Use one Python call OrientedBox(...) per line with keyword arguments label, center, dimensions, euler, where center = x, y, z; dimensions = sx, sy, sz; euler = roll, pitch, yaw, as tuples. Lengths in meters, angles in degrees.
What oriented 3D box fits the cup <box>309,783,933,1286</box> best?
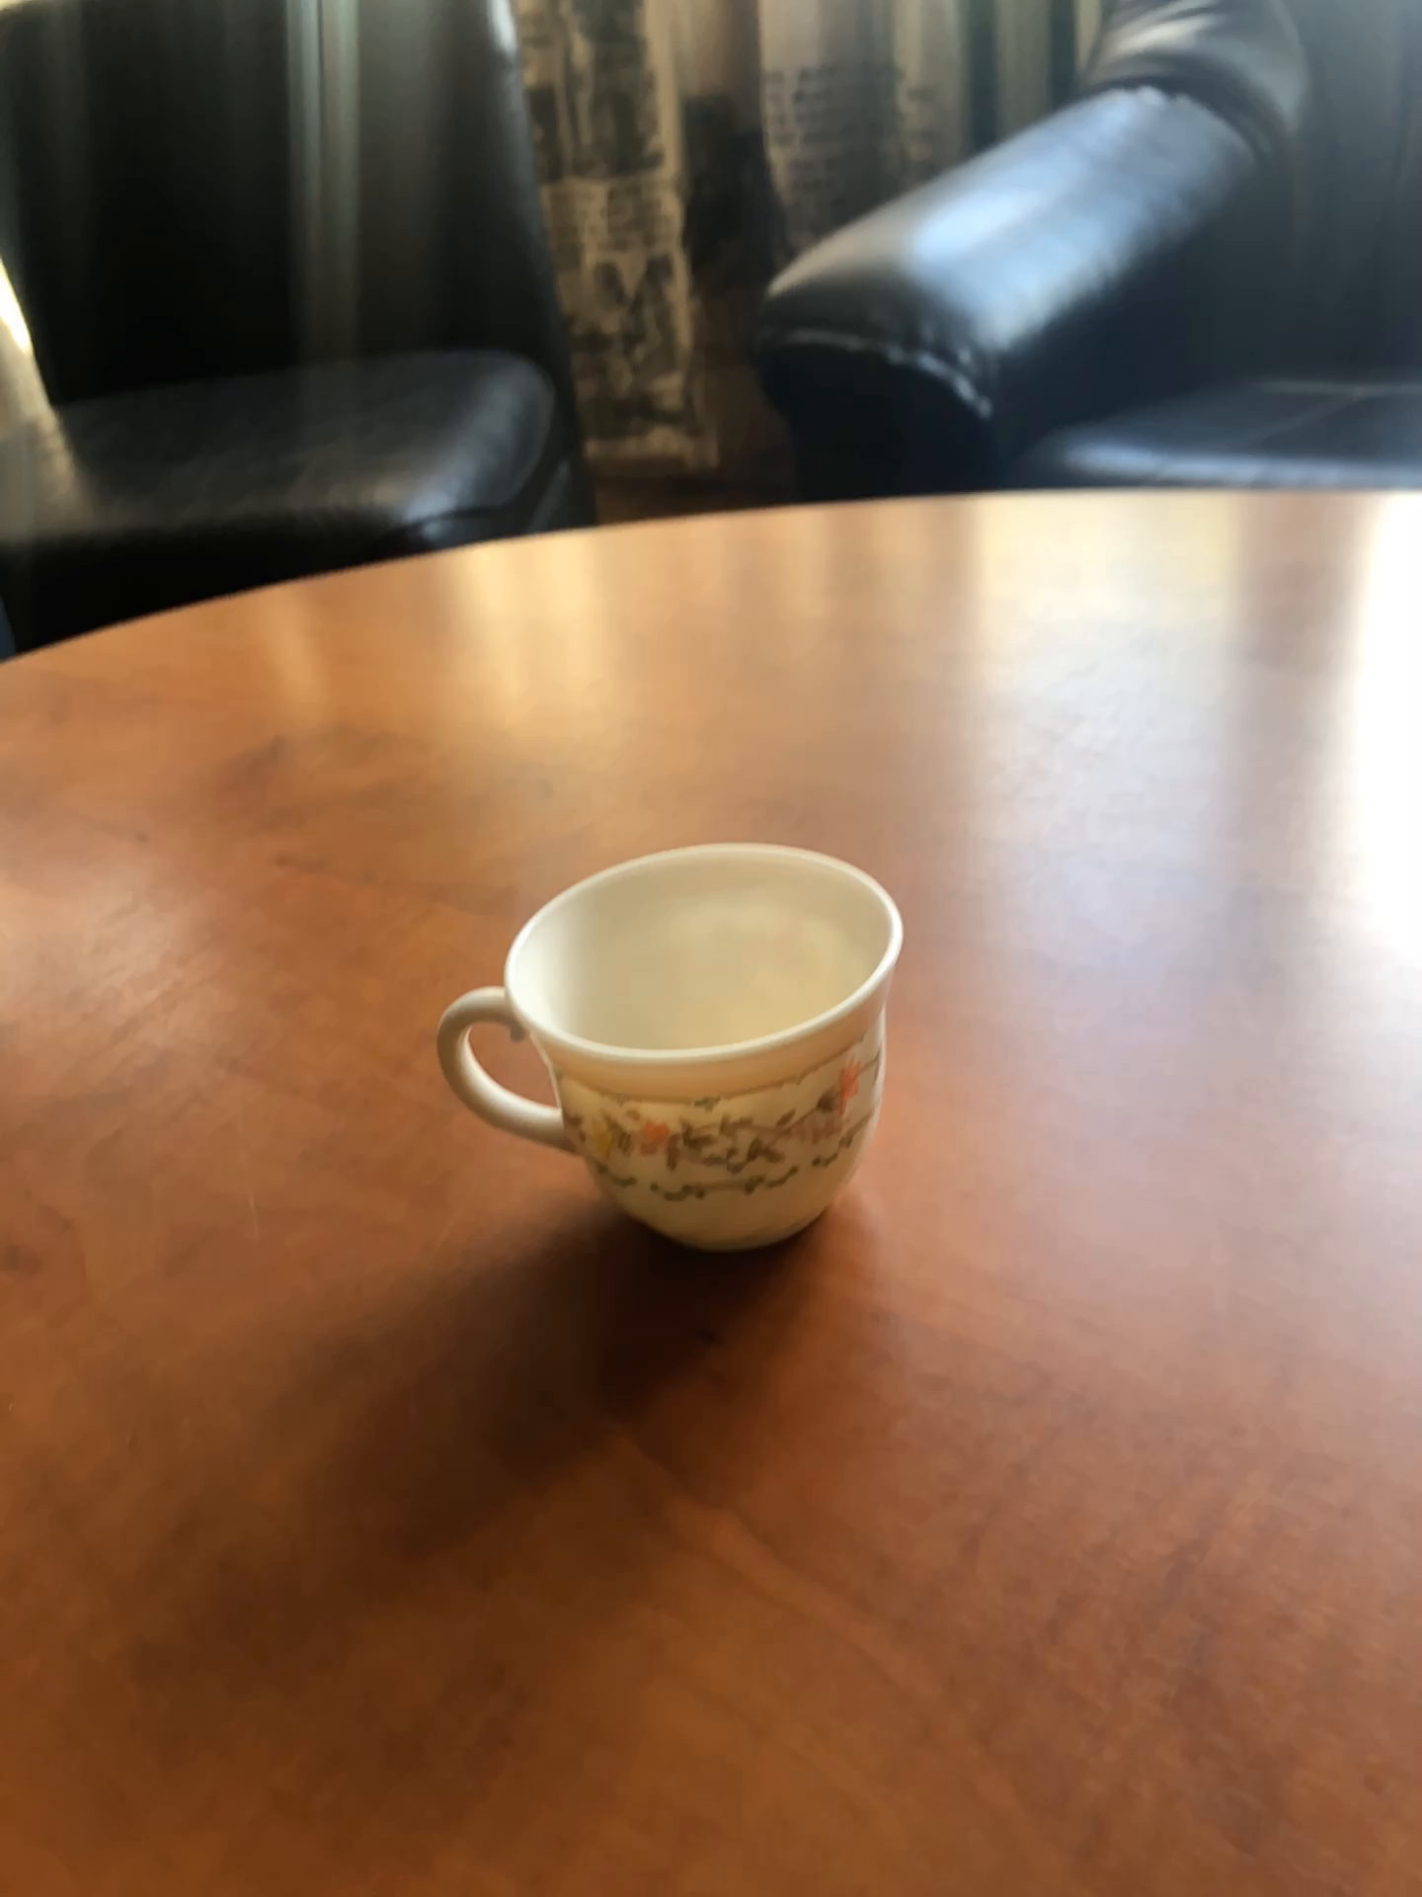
OrientedBox(label="cup", center=(-0.009, 0.012, 0.253), dimensions=(0.083, 0.048, 0.063), euler=(-4, 32, 8))
